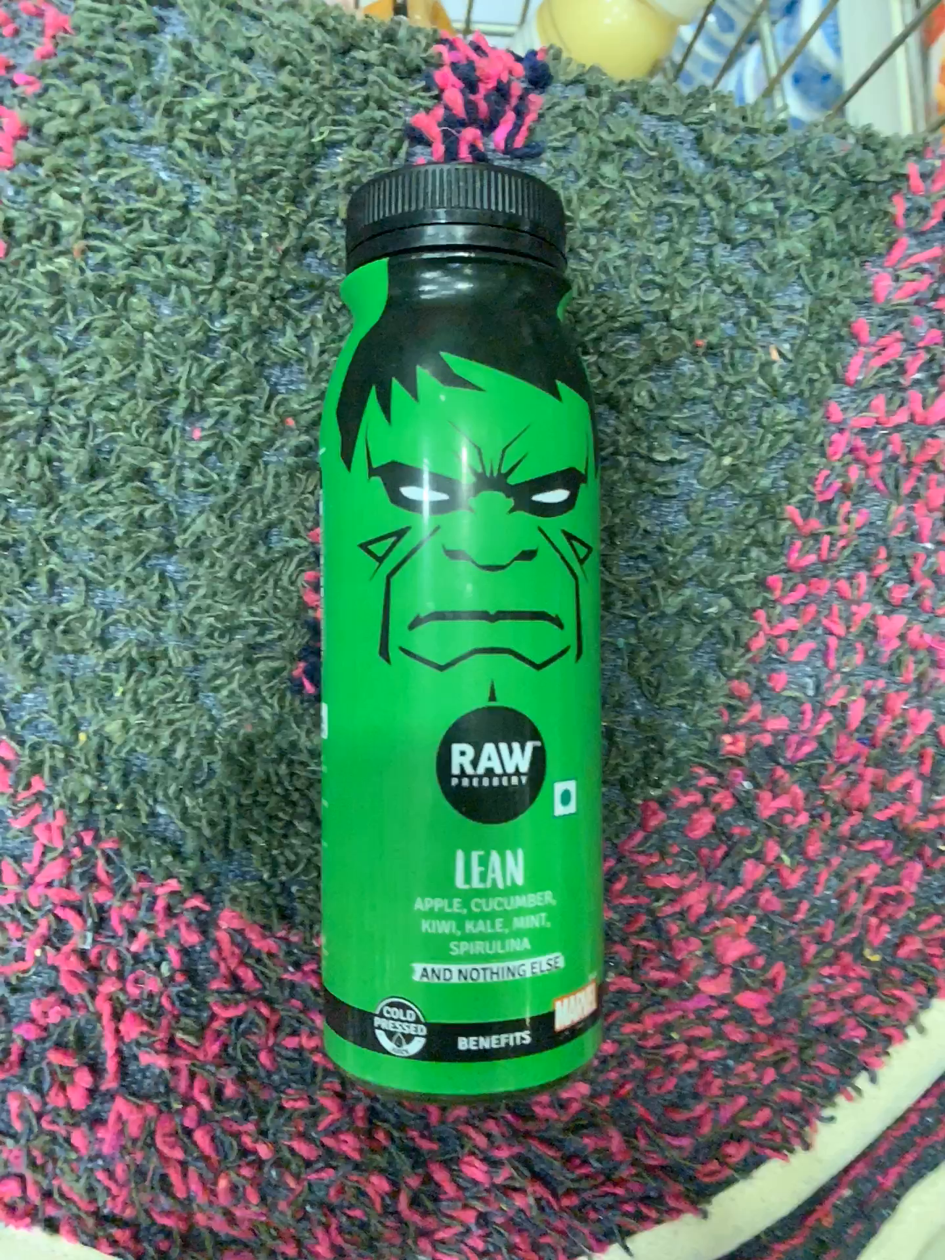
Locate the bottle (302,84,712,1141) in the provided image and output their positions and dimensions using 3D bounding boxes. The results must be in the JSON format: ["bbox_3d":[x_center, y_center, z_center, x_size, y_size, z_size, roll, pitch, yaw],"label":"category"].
[{"bbox_3d":[0.003,-0.004,0.177,0.060,0.050,0.160,-1,88,-6],"label":"bottle"}]
